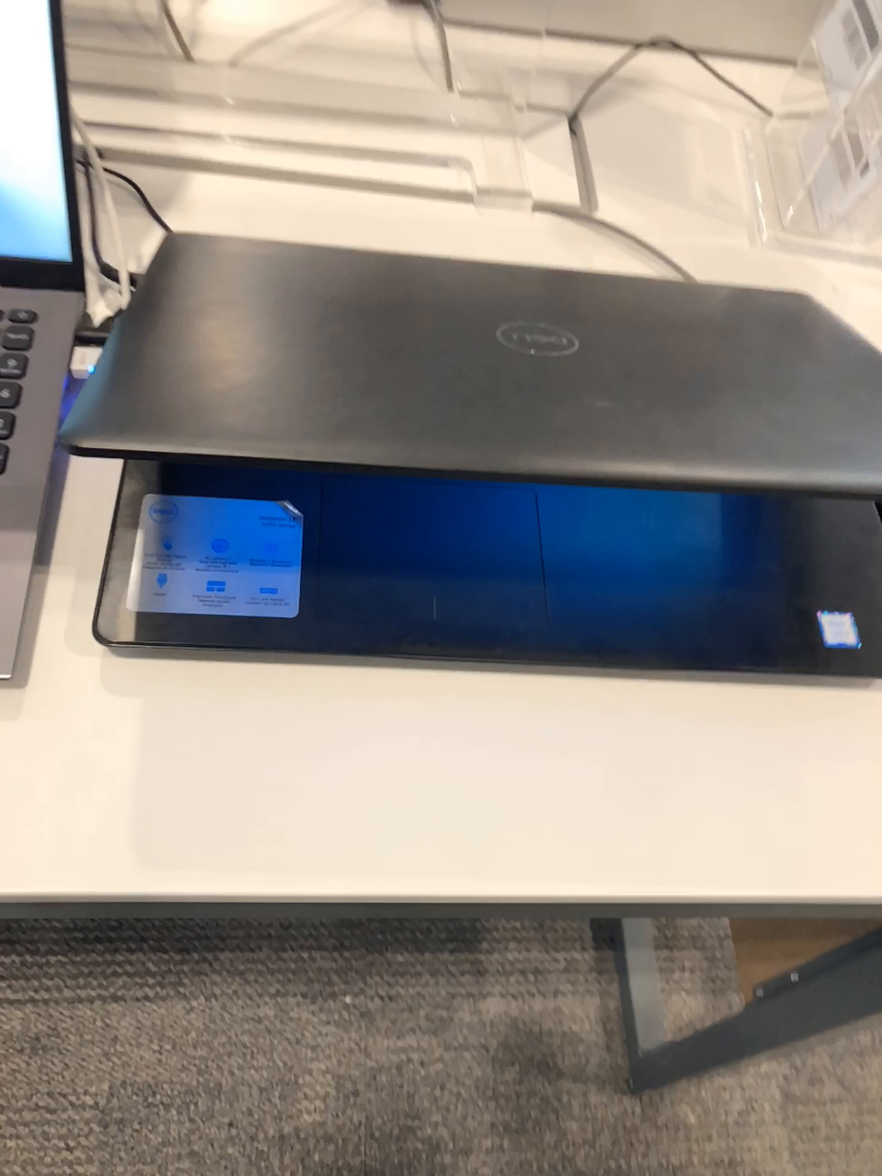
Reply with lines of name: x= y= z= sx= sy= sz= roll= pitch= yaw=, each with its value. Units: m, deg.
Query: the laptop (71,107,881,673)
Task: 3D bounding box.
laptop: x=0.049 y=-0.093 z=0.454 sx=0.365 sy=0.080 sz=0.245 roll=3 pitch=57 yaw=-10
